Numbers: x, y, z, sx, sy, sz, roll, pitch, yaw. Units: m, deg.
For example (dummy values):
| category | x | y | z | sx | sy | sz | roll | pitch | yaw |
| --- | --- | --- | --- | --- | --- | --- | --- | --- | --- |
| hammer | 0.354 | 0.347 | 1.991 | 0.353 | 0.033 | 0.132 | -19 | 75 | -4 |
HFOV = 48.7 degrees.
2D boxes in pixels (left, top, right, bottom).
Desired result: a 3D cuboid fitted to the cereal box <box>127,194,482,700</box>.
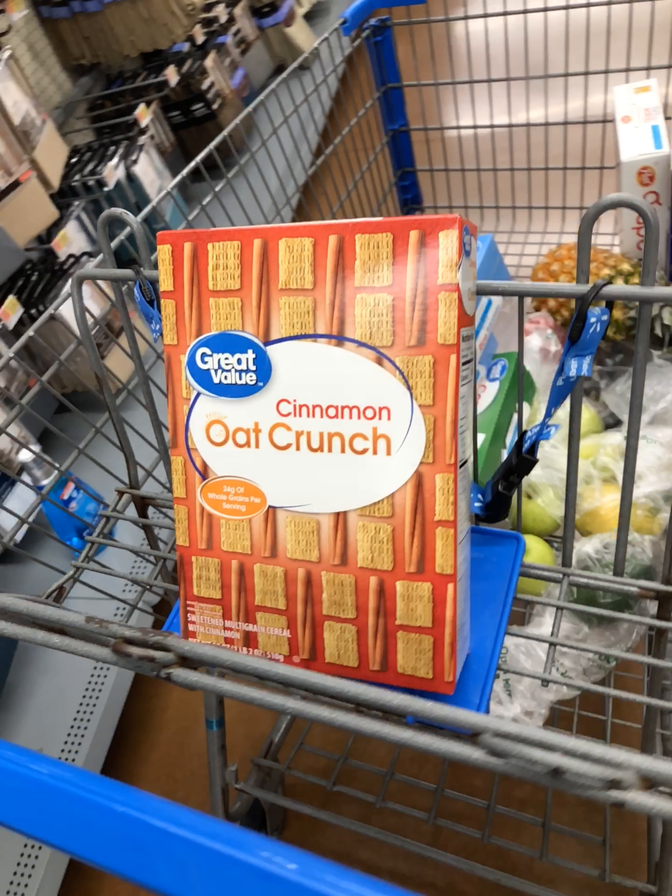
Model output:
| category | x | y | z | sx | sy | sz | roll | pitch | yaw |
| --- | --- | --- | --- | --- | --- | --- | --- | --- | --- |
| cereal box | -0.018 | -0.004 | 0.470 | 0.200 | 0.280 | 0.070 | 3 | 12 | 20 |
